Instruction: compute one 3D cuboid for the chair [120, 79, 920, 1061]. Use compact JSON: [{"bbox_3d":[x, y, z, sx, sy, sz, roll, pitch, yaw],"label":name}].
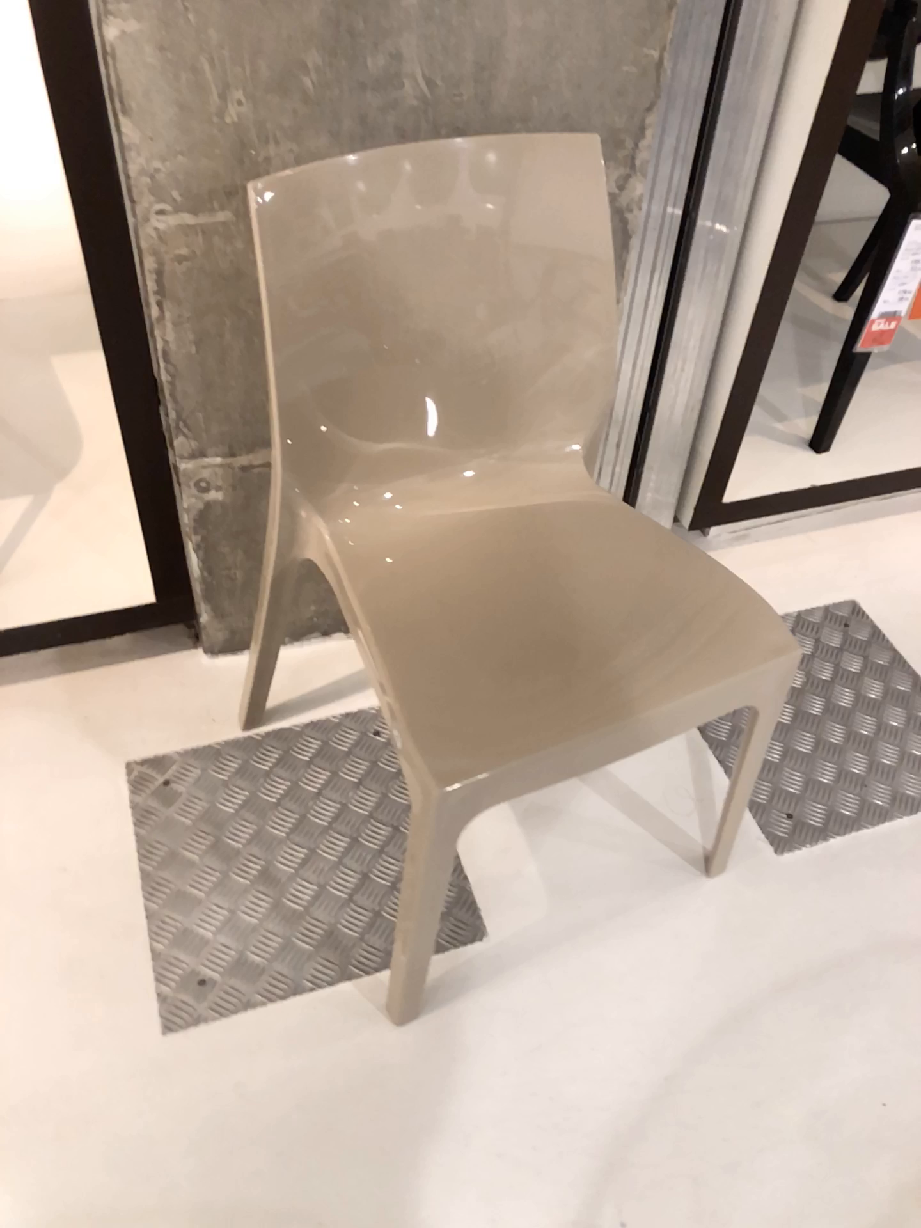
[{"bbox_3d":[0.034,-0.039,1.134,0.551,0.824,0.563,-17,49,-21],"label":"chair"}]
